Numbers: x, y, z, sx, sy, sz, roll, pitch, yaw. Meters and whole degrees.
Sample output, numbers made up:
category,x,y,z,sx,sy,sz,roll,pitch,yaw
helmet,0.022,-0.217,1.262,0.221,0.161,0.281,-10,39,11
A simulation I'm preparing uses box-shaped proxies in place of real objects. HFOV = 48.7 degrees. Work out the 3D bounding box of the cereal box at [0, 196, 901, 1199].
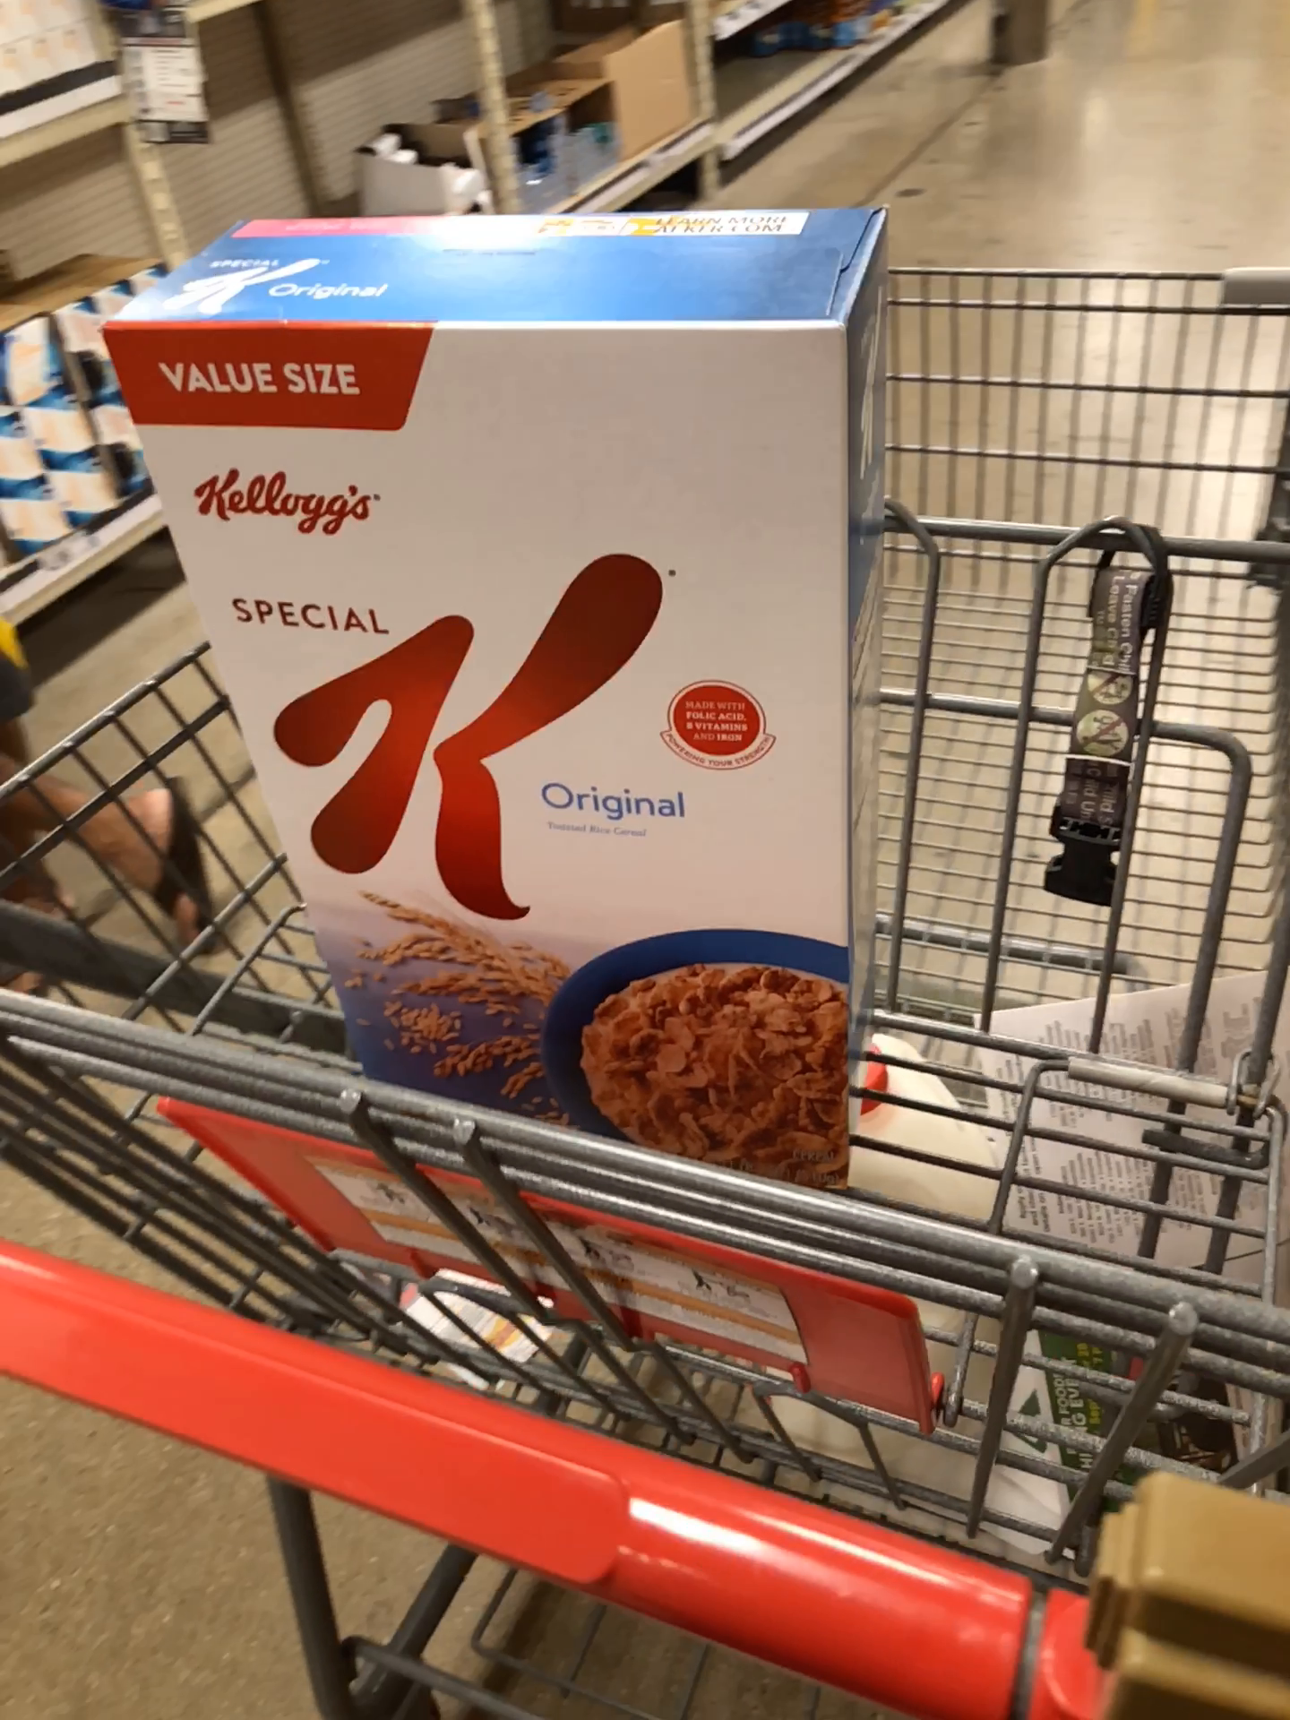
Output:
category,x,y,z,sx,sy,sz,roll,pitch,yaw
cereal box,-0.036,-0.037,0.486,0.230,0.329,0.080,7,43,18
